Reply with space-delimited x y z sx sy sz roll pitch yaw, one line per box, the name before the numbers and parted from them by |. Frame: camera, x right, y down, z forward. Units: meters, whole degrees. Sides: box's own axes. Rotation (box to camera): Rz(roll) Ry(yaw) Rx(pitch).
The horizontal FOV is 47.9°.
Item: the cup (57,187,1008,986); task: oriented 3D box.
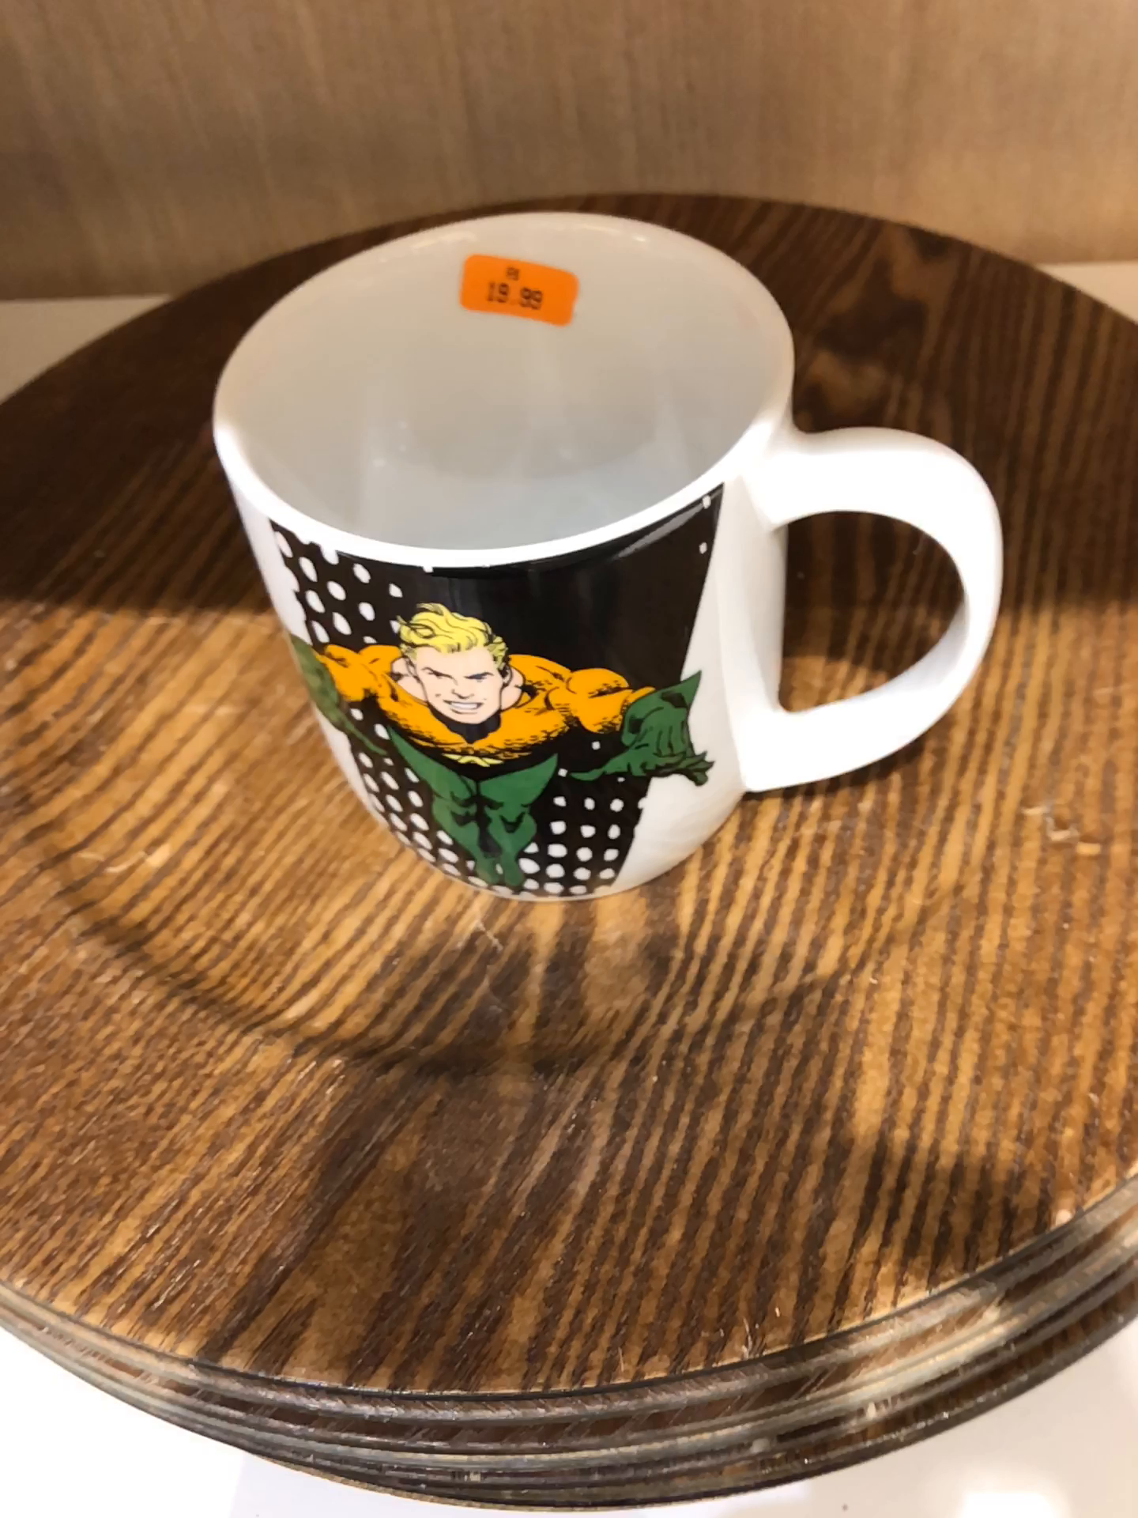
cup | 0.005 -0.031 0.218 0.120 0.089 0.091 5 50 13
